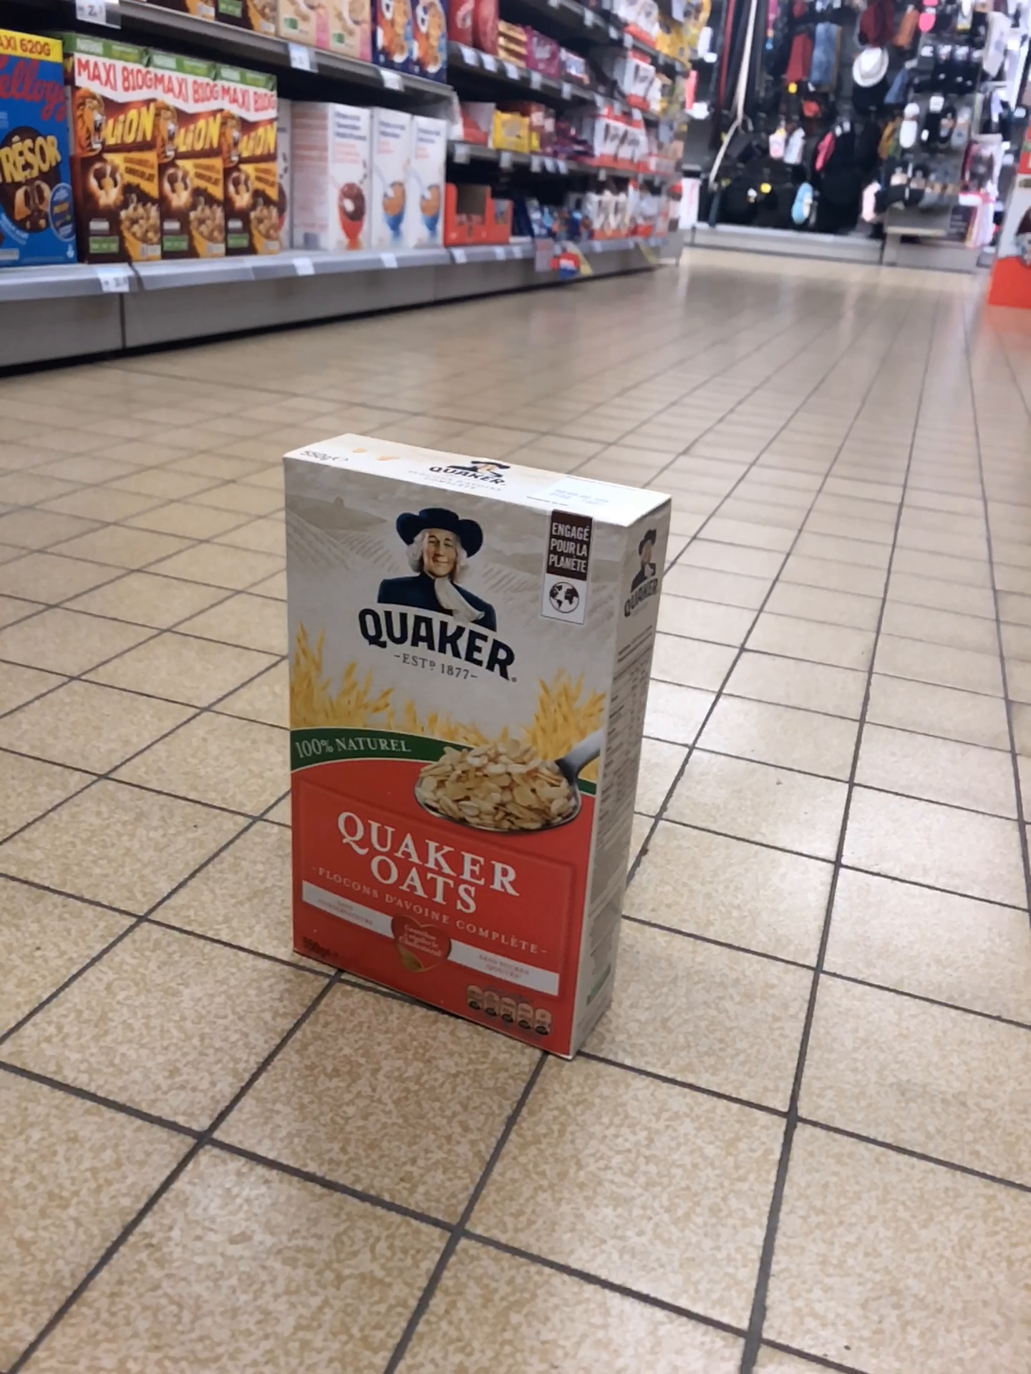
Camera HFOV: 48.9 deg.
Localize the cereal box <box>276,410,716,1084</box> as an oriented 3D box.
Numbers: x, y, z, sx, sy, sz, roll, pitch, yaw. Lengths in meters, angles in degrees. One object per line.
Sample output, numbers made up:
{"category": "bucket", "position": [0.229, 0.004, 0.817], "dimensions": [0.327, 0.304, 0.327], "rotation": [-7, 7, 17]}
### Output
{"category": "cereal box", "position": [-0.018, 0.022, 0.444], "dimensions": [0.150, 0.229, 0.050], "rotation": [16, 25, 23]}
